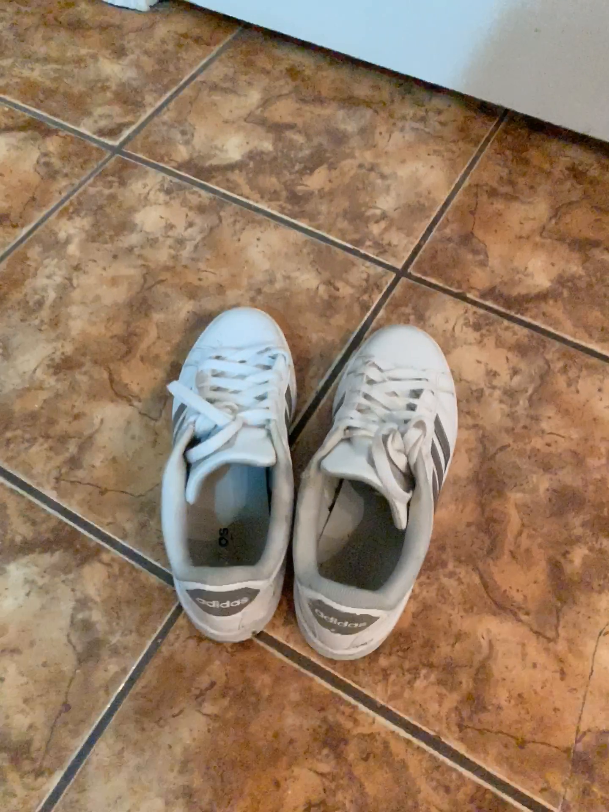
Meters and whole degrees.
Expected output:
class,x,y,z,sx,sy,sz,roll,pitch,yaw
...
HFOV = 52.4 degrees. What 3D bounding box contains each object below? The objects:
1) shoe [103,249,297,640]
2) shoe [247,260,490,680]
class,x,y,z,sx,sy,sz,roll,pitch,yaw
shoe,-0.061,0.020,0.444,0.101,0.104,0.257,-2,58,0
shoe,0.053,0.035,0.432,0.101,0.104,0.257,12,59,9
